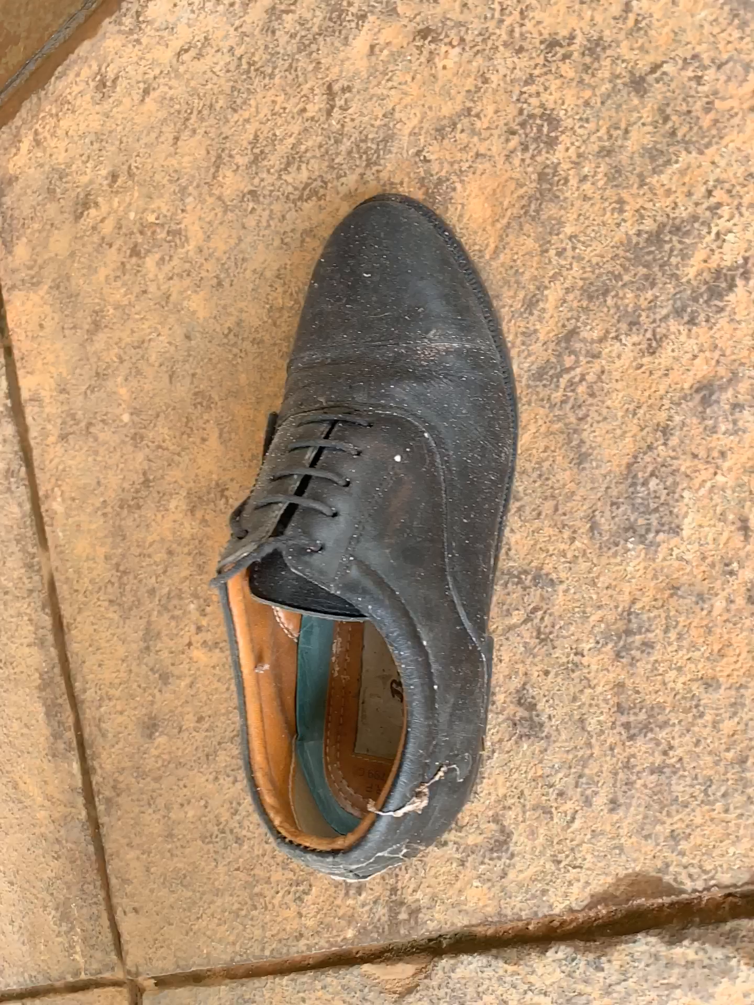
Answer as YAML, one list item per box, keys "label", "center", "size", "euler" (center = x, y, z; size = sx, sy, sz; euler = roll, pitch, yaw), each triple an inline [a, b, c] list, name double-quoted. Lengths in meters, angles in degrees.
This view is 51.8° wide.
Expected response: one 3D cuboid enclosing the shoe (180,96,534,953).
- label: "shoe"
  center: [-0.008, 0.006, 0.307]
  size: [0.101, 0.090, 0.270]
  euler: [-6, 82, 31]
